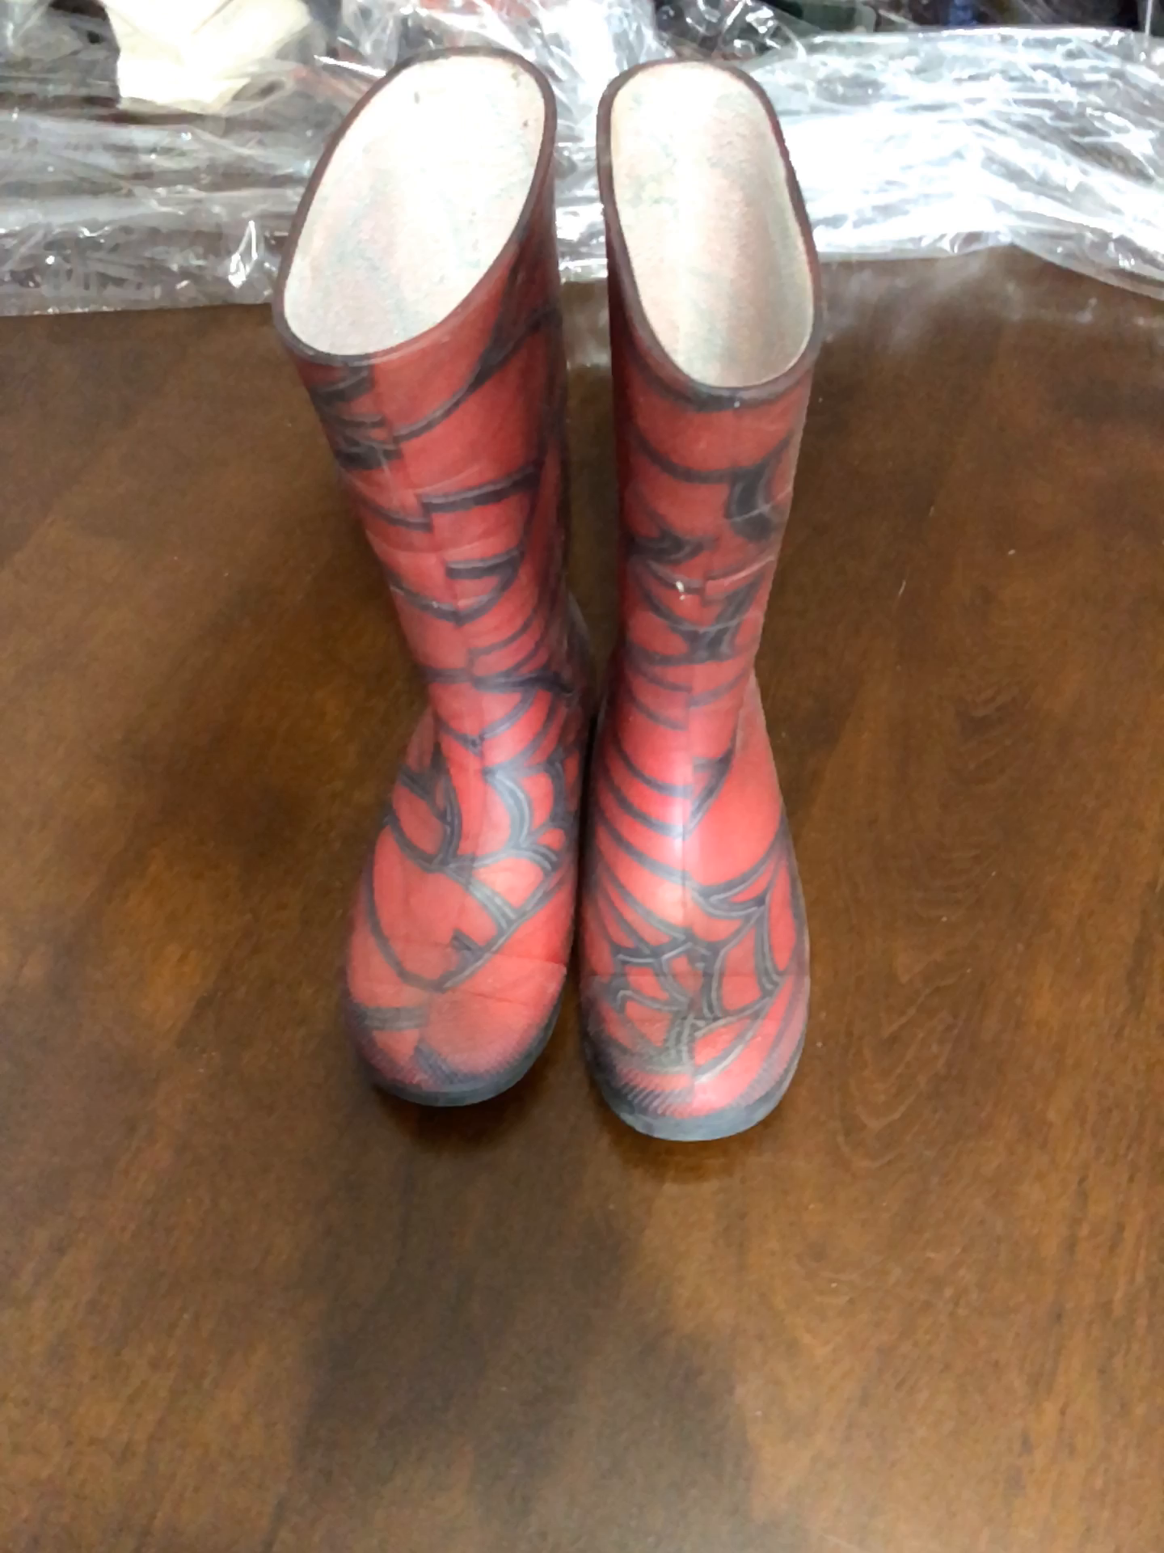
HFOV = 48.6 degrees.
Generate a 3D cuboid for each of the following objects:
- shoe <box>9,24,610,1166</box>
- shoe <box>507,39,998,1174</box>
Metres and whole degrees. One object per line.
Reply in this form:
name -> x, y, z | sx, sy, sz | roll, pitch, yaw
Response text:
shoe -> -0.042, -0.036, 0.374 | 0.080, 0.239, 0.220 | 4, 57, 4
shoe -> 0.031, -0.031, 0.371 | 0.080, 0.239, 0.220 | 0, 57, 1
